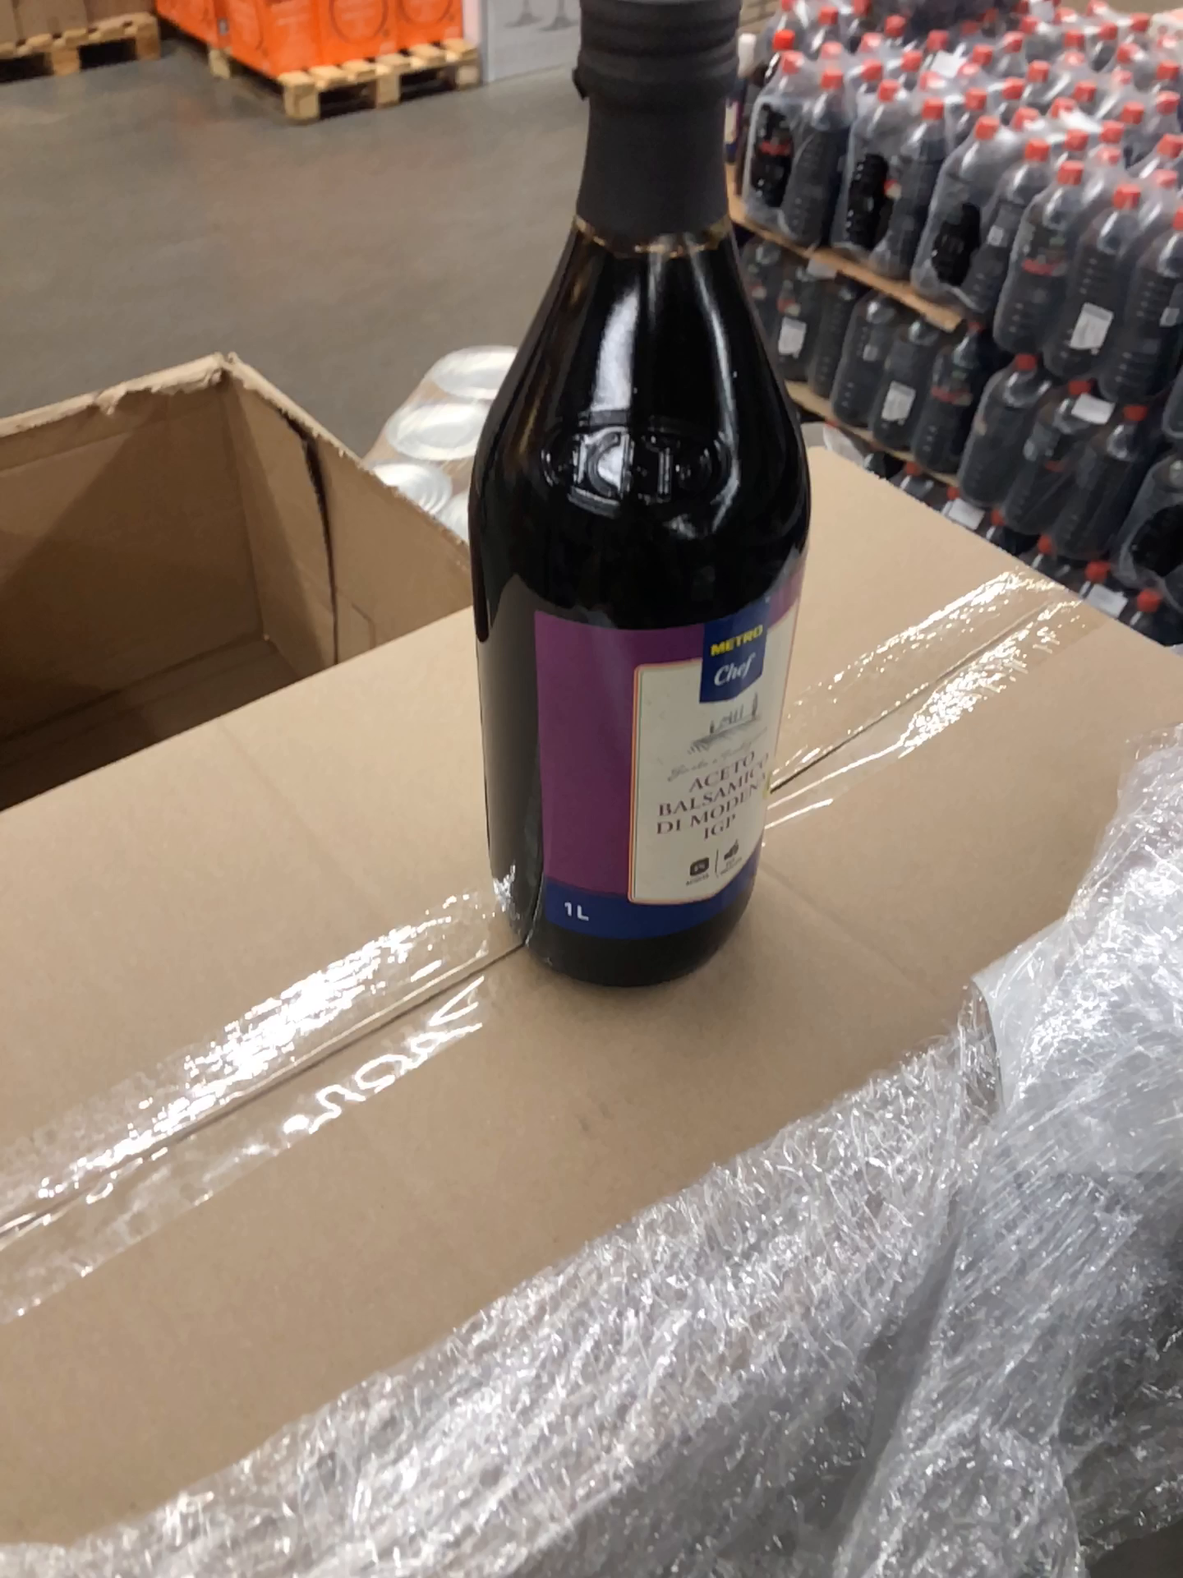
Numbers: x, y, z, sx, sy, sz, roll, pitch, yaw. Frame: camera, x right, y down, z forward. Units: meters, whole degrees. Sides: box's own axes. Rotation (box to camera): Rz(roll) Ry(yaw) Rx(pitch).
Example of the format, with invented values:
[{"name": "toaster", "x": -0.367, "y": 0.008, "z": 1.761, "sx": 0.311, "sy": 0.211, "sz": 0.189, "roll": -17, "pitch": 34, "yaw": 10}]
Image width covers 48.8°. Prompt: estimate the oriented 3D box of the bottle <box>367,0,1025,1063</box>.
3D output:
[{"name": "bottle", "x": 0.015, "y": -0.054, "z": 0.342, "sx": 0.090, "sy": 0.257, "sz": 0.090, "roll": 1, "pitch": 45, "yaw": -1}]
